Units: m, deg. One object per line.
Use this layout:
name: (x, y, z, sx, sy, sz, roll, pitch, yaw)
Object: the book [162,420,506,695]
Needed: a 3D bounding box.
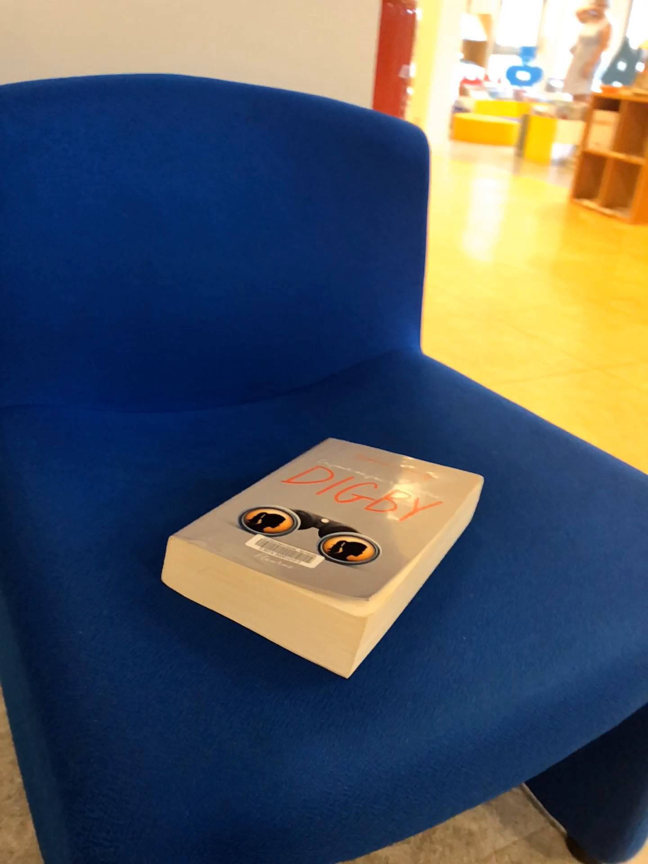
book: (0.018, 0.067, 0.499, 0.151, 0.056, 0.212, 18, 25, 25)
